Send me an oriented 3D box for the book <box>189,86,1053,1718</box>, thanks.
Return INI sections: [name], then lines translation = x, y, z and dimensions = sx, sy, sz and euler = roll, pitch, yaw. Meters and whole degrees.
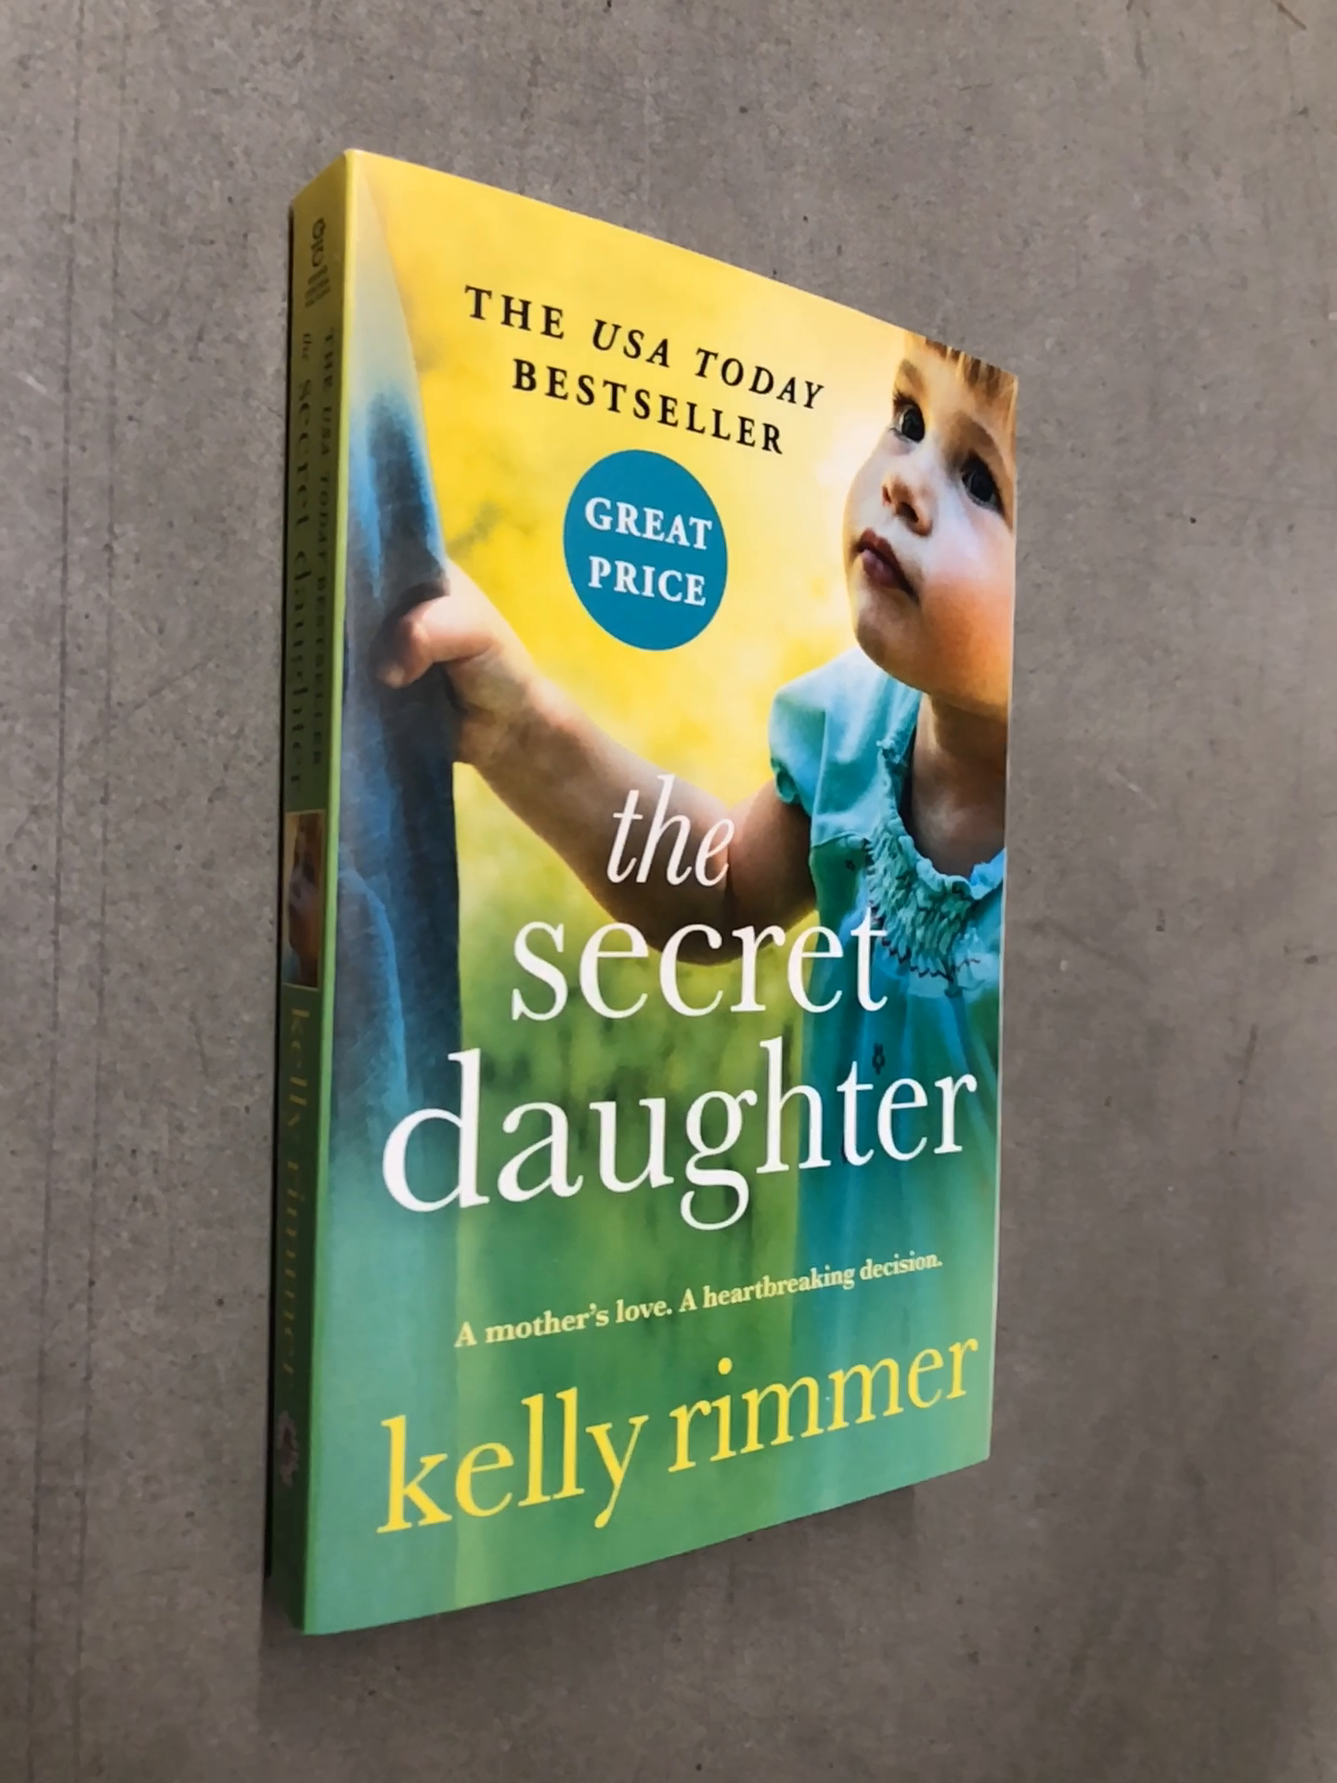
[book]
translation = 0.001, 0.003, 0.243
dimensions = 0.140, 0.030, 0.210
euler = 3, 89, -35
